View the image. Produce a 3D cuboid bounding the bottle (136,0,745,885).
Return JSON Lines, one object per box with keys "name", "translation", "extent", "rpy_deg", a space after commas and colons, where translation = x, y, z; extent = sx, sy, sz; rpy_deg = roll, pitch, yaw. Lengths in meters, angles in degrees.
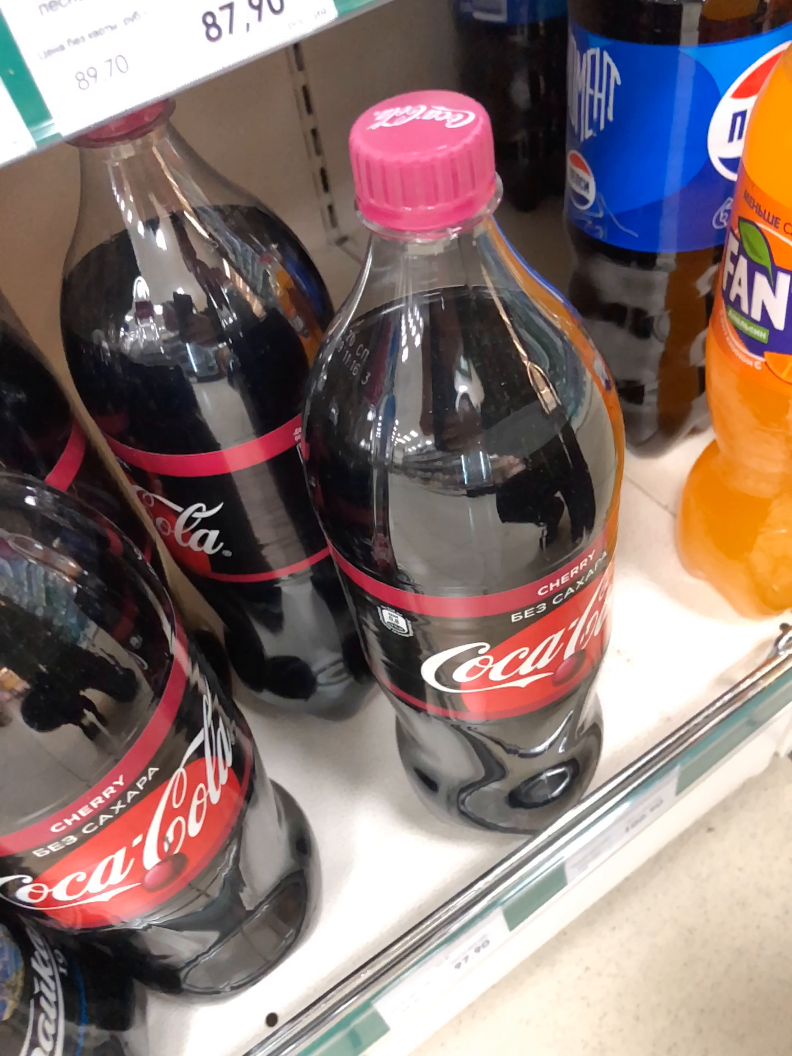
{"name": "bottle", "translation": [0.025, 0.009, 0.296], "extent": [0.092, 0.295, 0.088], "rpy_deg": [-5, 51, 6]}
